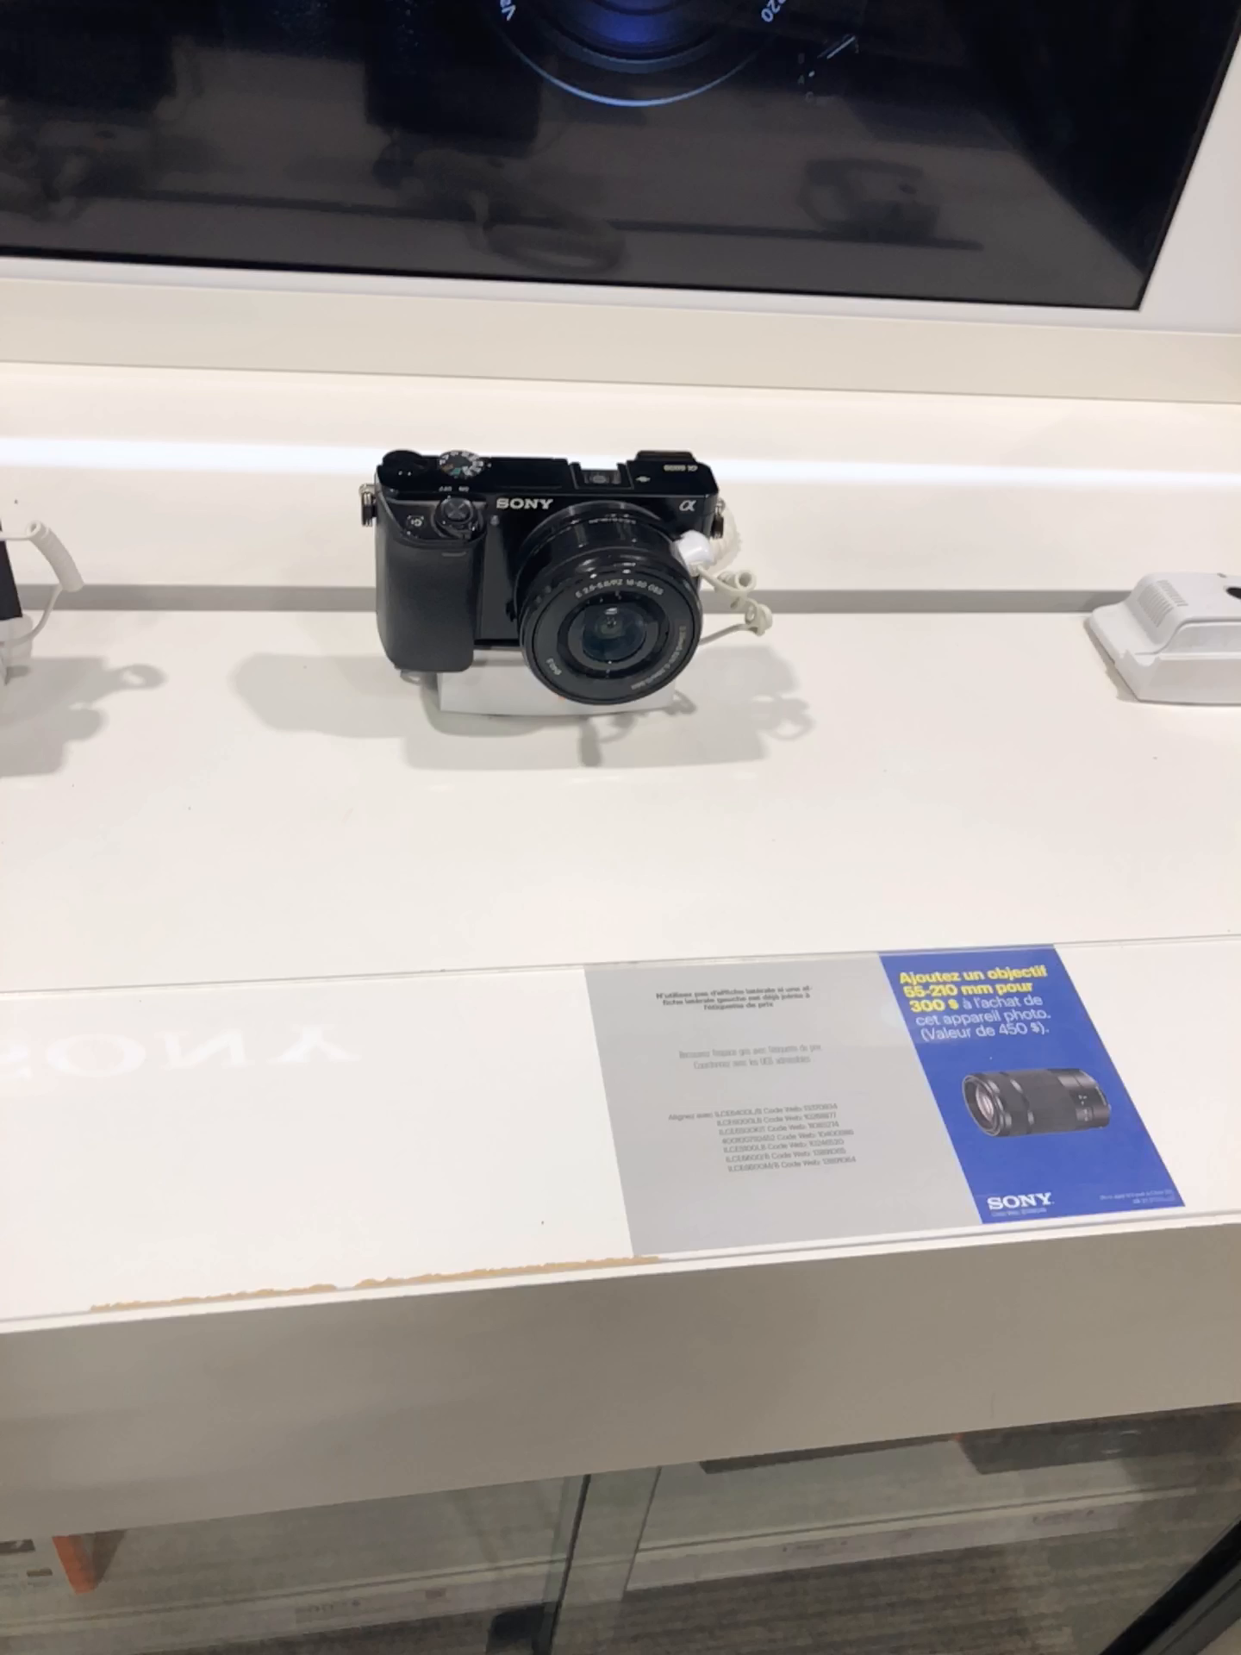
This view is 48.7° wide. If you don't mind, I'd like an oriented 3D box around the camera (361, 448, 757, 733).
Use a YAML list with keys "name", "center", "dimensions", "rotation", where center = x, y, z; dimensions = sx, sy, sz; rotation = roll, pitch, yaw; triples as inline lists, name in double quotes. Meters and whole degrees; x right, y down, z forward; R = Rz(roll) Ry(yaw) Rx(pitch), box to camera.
- name: "camera"
  center: [-0.027, -0.088, 0.504]
  dimensions: [0.130, 0.077, 0.065]
  rotation: [-3, 44, -11]
